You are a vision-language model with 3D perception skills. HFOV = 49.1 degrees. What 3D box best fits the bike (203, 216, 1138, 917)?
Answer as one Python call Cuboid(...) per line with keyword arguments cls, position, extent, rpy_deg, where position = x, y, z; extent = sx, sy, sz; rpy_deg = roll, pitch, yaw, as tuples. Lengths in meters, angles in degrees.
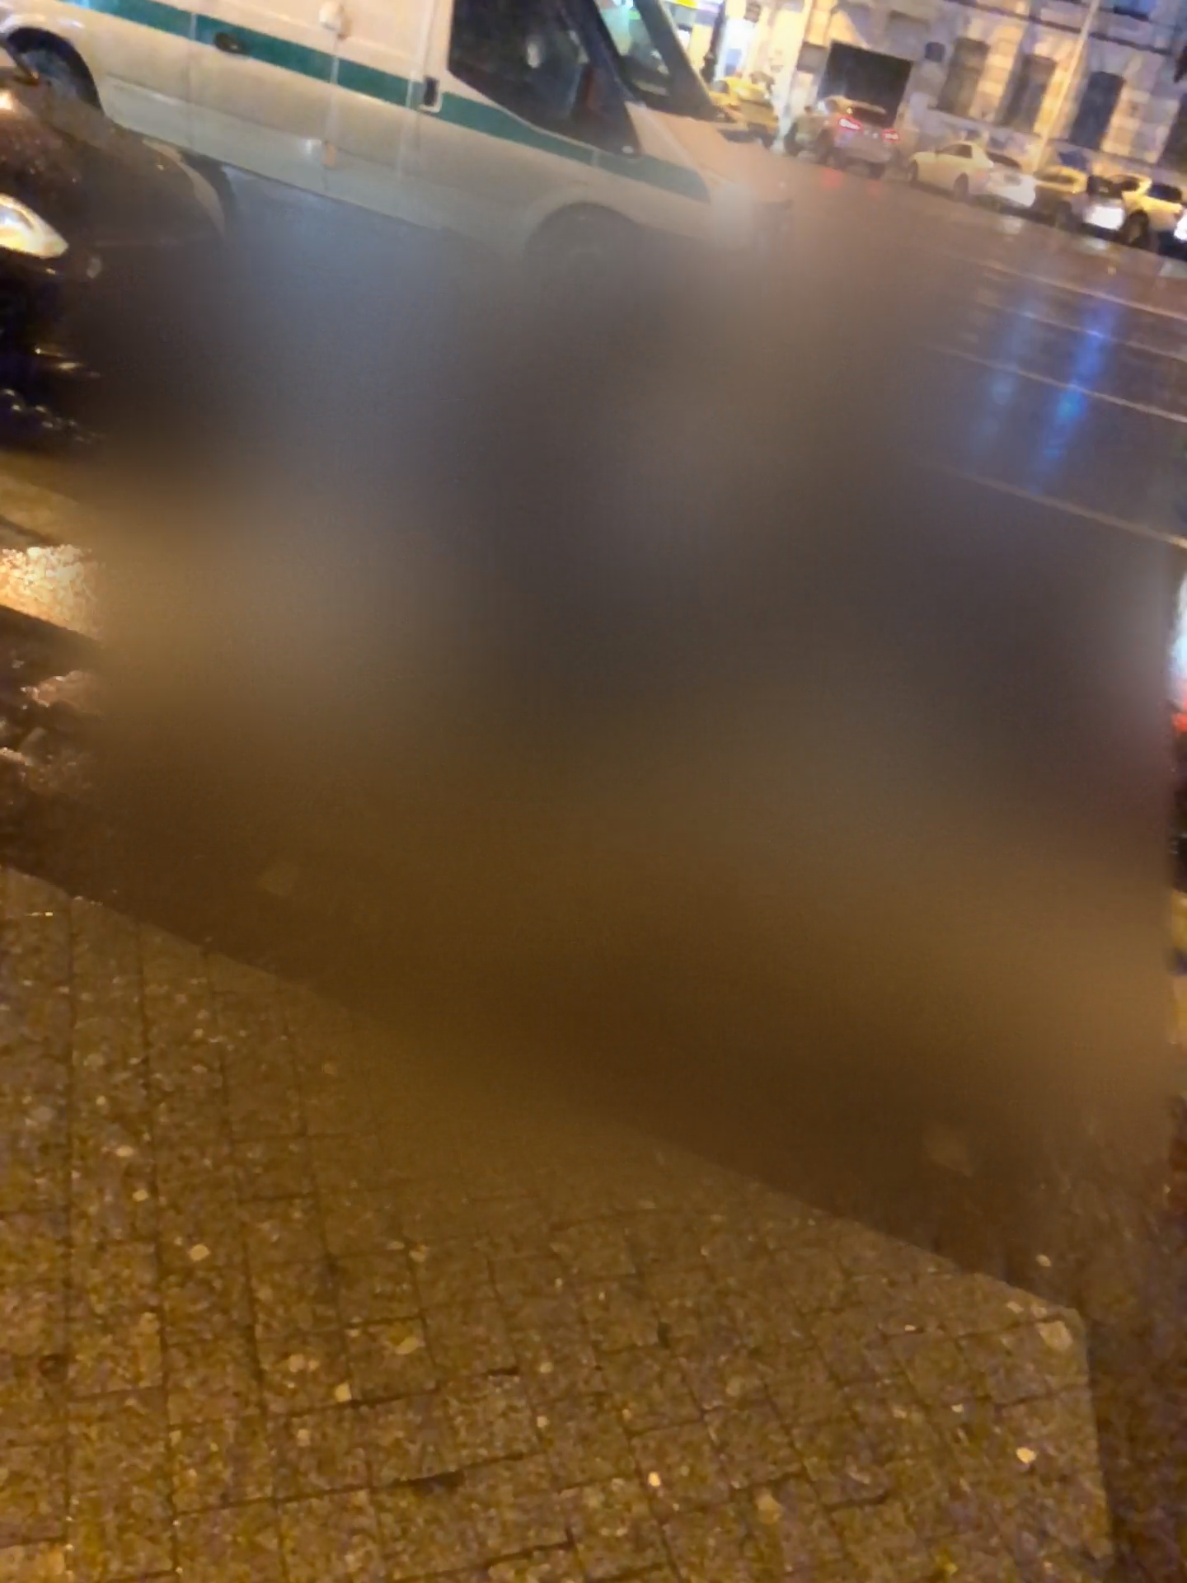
Cuboid(cls="bike", position=(0.090, -0.553, 2.829), extent=(1.748, 0.961, 0.556), rpy_deg=(20, 27, 14))
